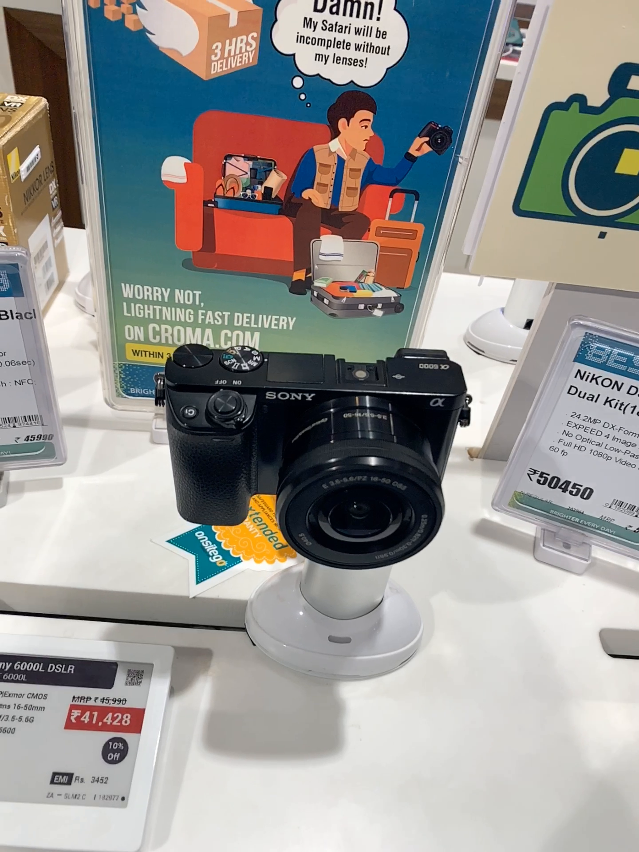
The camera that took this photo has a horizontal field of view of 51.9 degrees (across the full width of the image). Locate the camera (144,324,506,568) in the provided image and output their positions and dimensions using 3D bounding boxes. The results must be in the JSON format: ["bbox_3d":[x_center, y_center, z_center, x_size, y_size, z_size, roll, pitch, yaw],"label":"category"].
[{"bbox_3d":[-0.003,0.010,0.256,0.118,0.073,0.056,2,40,-8],"label":"camera"}]
